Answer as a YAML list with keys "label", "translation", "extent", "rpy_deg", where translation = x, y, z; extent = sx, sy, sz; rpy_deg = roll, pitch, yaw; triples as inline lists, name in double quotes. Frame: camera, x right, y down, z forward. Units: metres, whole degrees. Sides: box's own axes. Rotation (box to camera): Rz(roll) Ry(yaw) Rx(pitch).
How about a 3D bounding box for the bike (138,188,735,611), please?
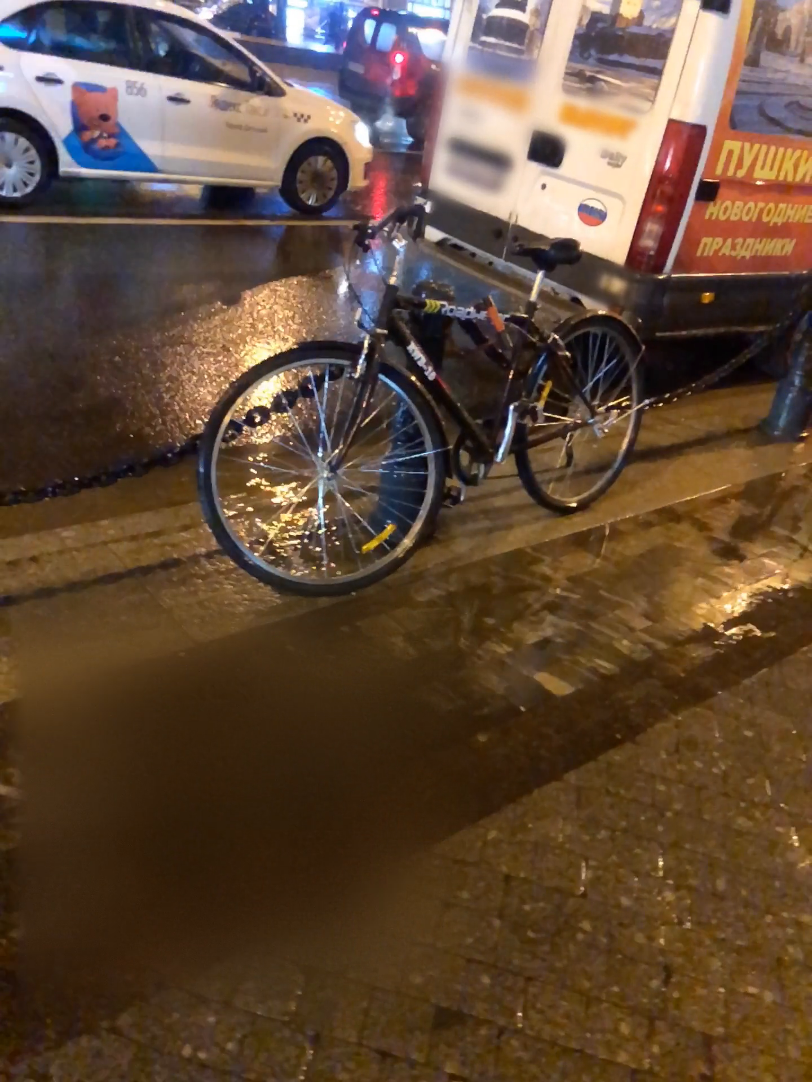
- label: "bike"
  translation: [0.122, -0.538, 2.794]
  extent: [1.752, 0.961, 0.554]
  rpy_deg: [-13, 35, -34]
